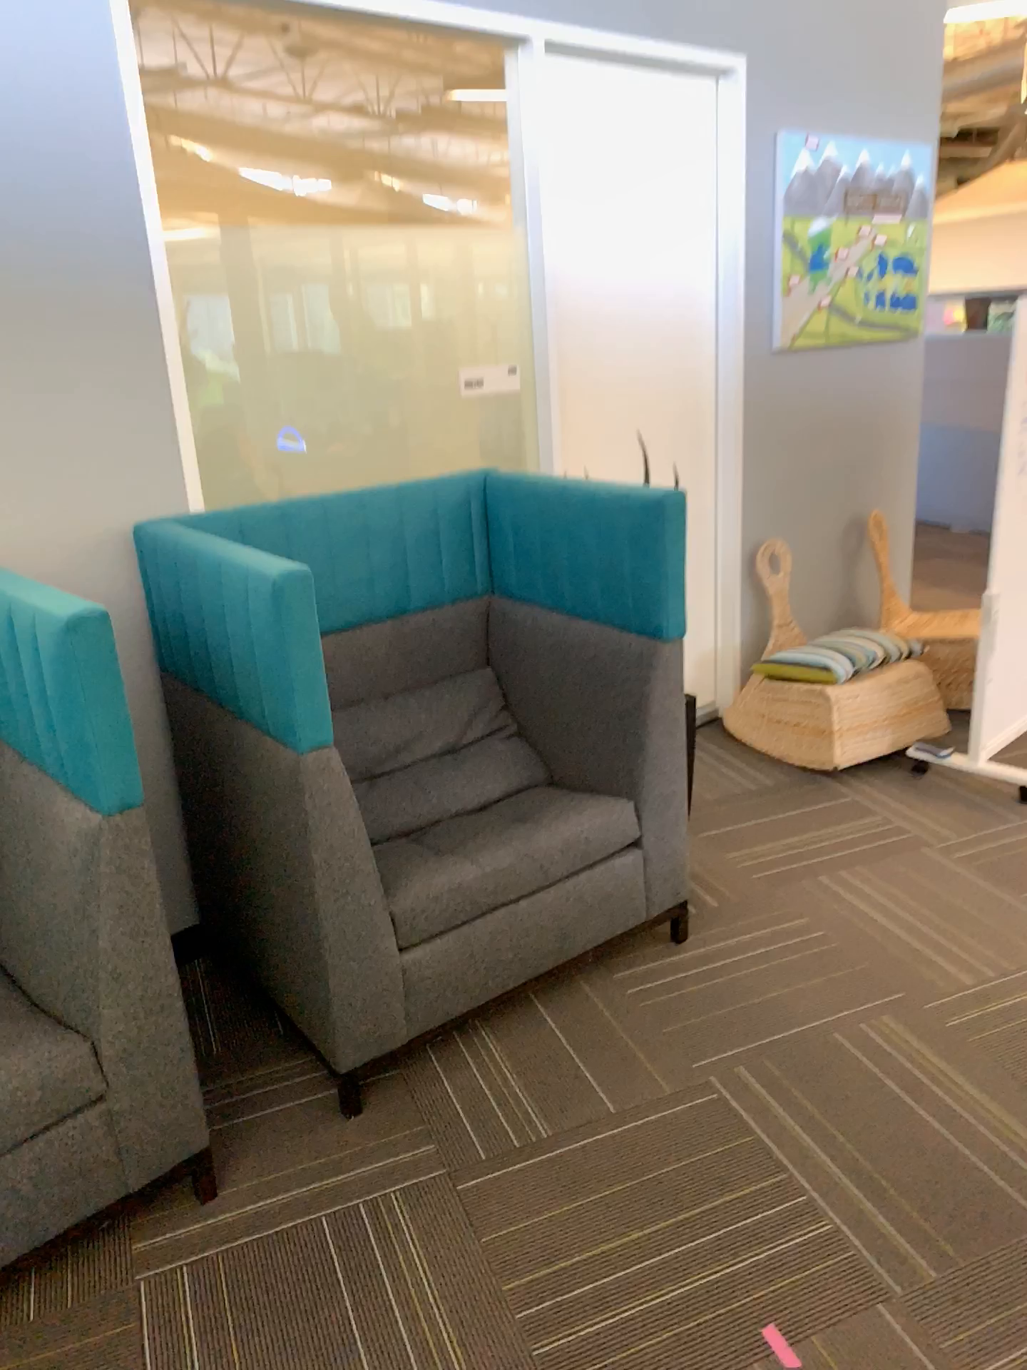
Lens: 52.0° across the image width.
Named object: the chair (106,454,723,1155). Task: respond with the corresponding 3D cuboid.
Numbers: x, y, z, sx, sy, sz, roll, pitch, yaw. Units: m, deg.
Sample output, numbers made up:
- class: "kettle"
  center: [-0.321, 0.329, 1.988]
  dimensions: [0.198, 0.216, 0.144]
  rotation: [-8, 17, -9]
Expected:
- class: "chair"
  center: [-0.220, 0.133, 2.623]
  dimensions: [1.050, 1.214, 1.014]
  rotation: [-17, 22, -34]
